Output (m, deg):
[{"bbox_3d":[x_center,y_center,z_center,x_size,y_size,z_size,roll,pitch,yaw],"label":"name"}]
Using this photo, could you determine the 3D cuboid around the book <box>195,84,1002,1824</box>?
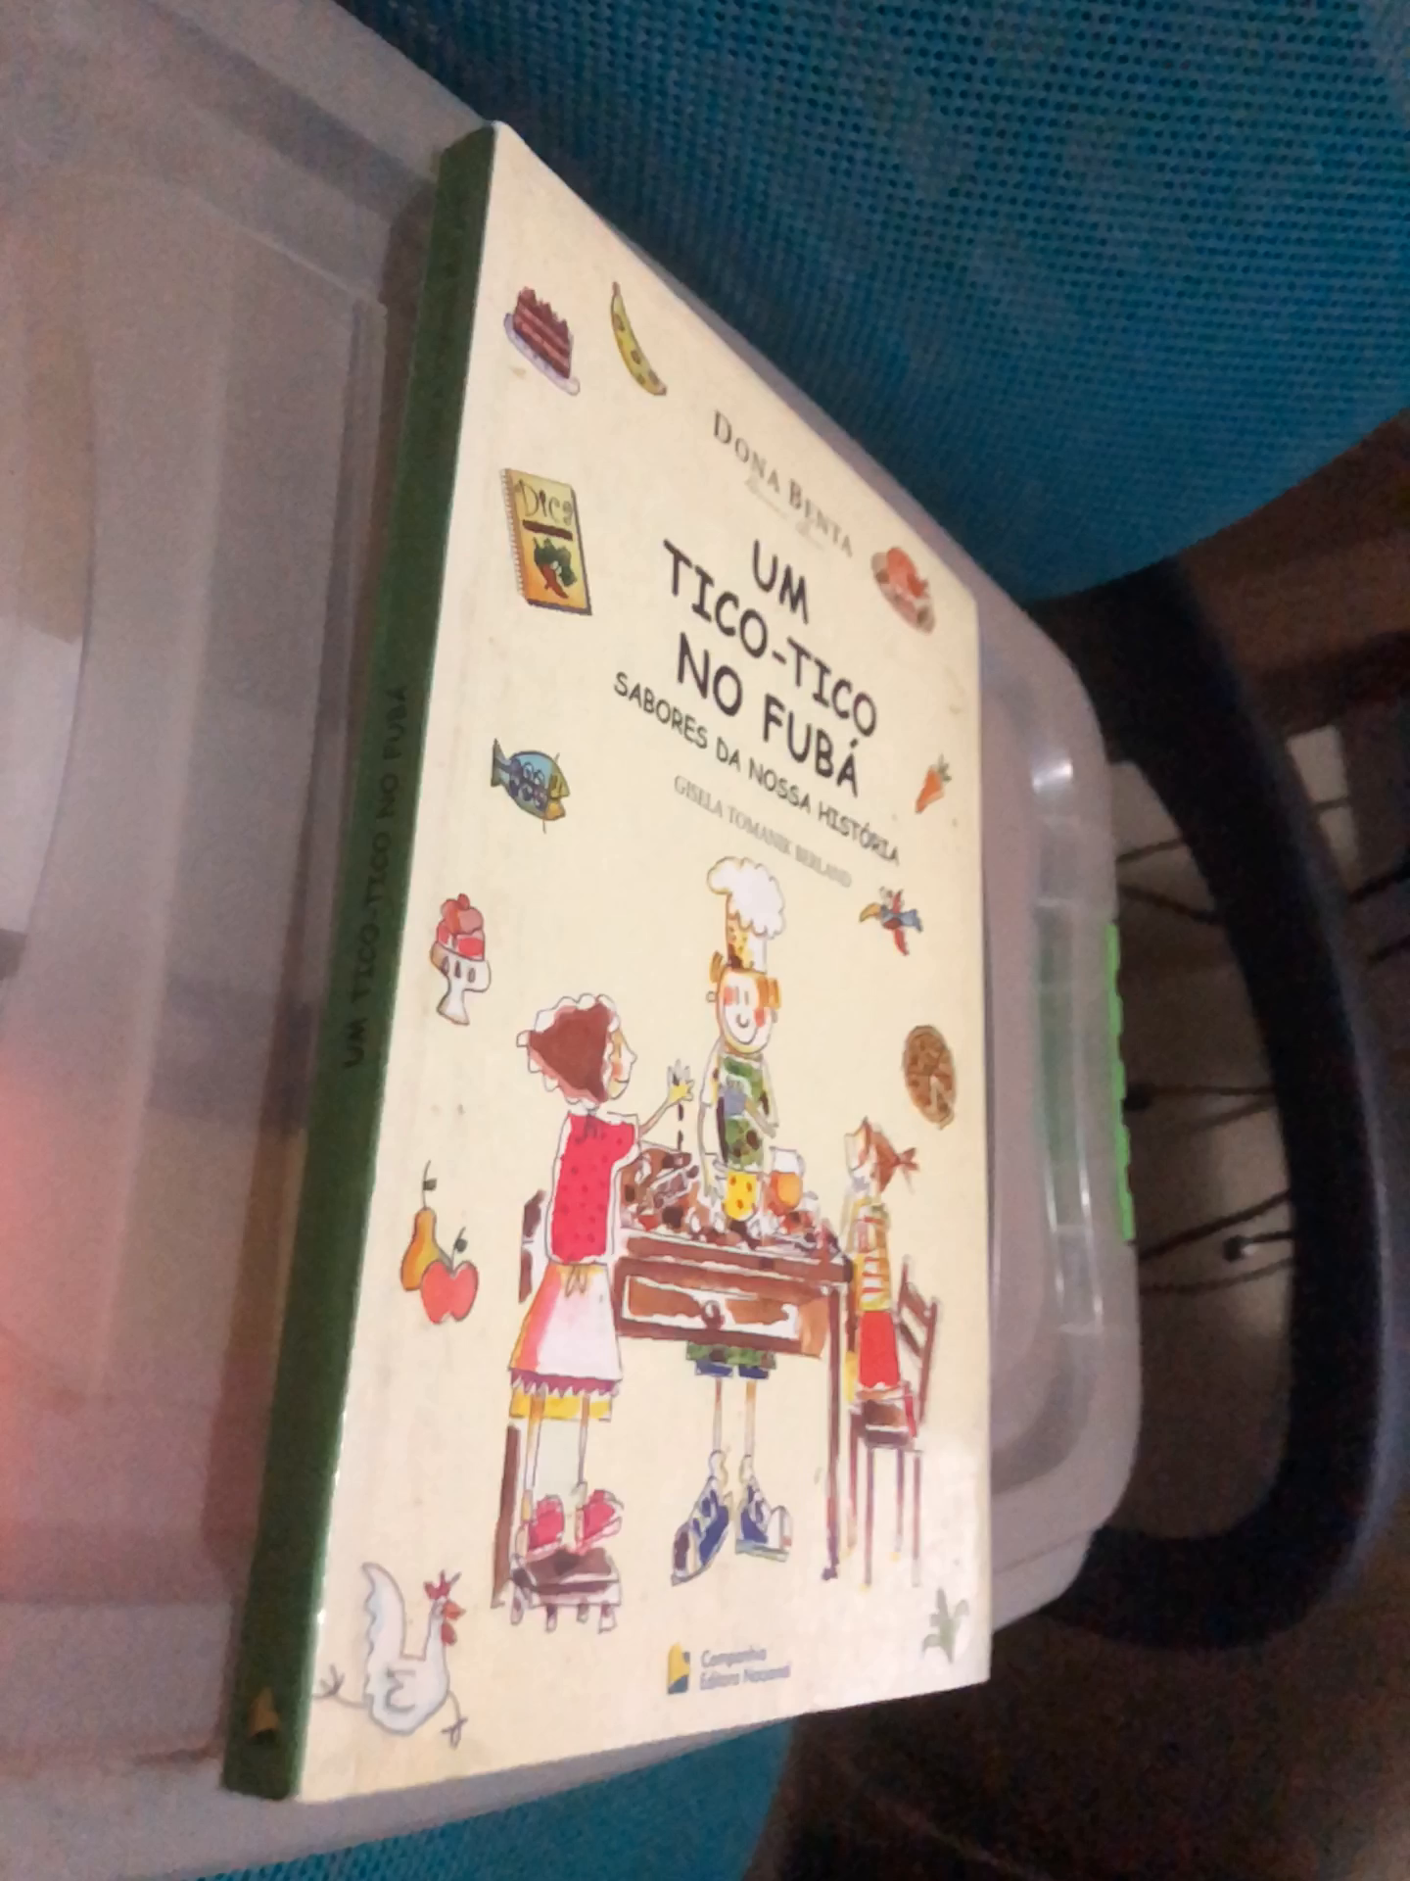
[{"bbox_3d":[0.006,0.007,0.273,0.172,0.020,0.232,26,62,-51],"label":"book"}]
